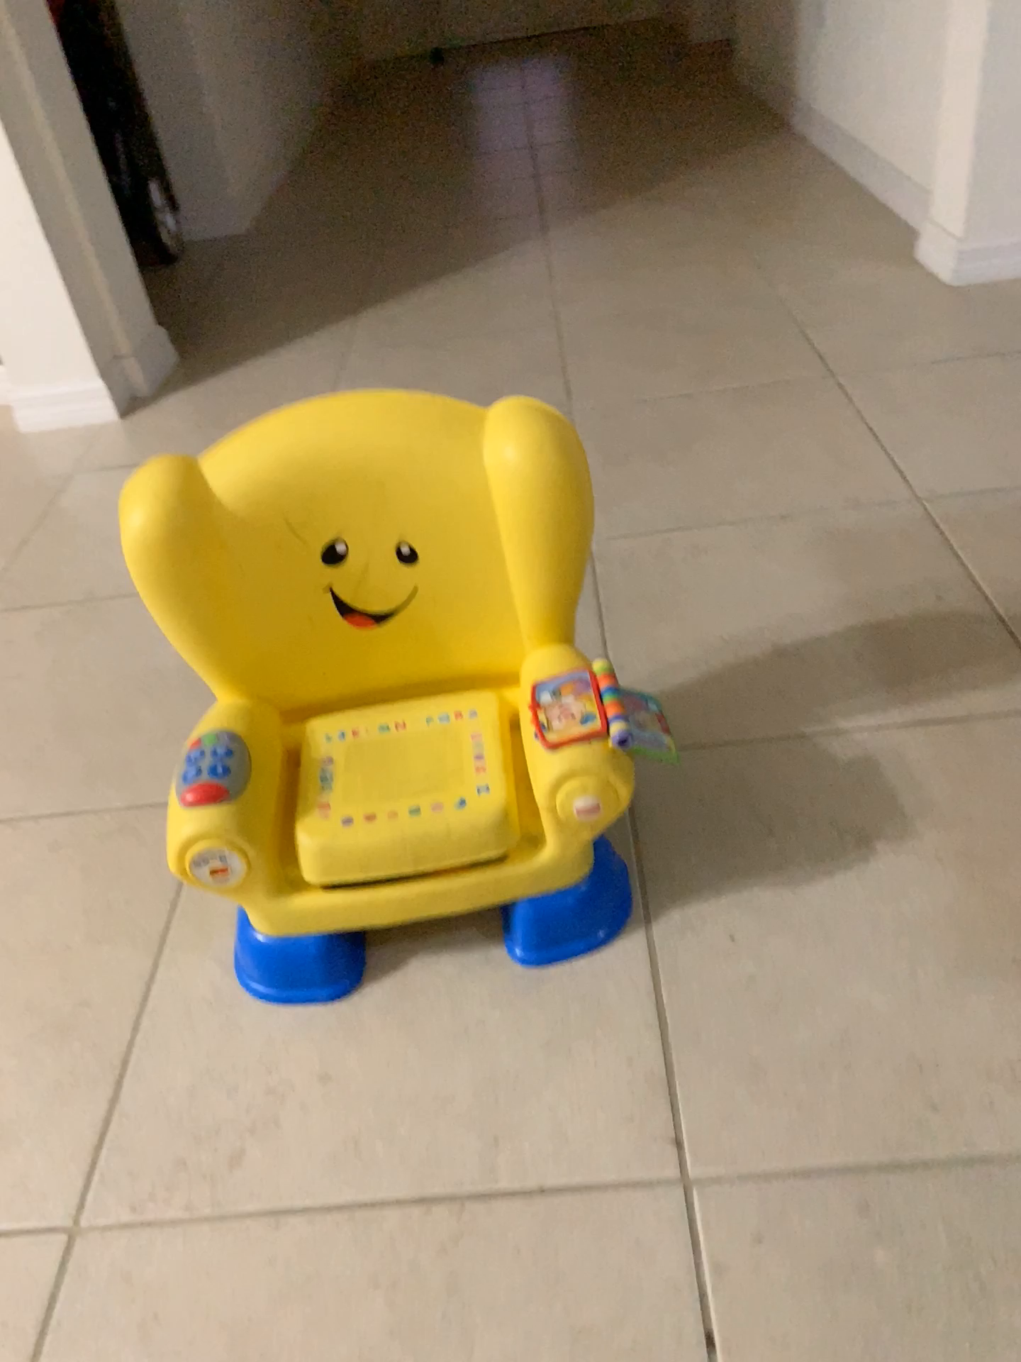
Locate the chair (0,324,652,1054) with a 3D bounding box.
[{"bbox_3d":[-0.124,0.006,0.956,0.420,0.485,0.374,-9,36,1],"label":"chair"}]
